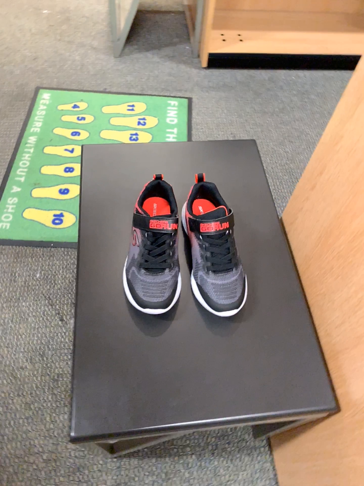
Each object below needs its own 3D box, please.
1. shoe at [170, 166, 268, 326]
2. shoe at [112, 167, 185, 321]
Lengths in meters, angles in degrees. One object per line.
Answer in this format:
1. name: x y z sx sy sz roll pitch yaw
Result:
1. shoe: 0.048 -0.003 0.596 0.090 0.080 0.241 -7 58 -9
2. shoe: -0.052 -0.005 0.599 0.098 0.080 0.241 1 58 -5
